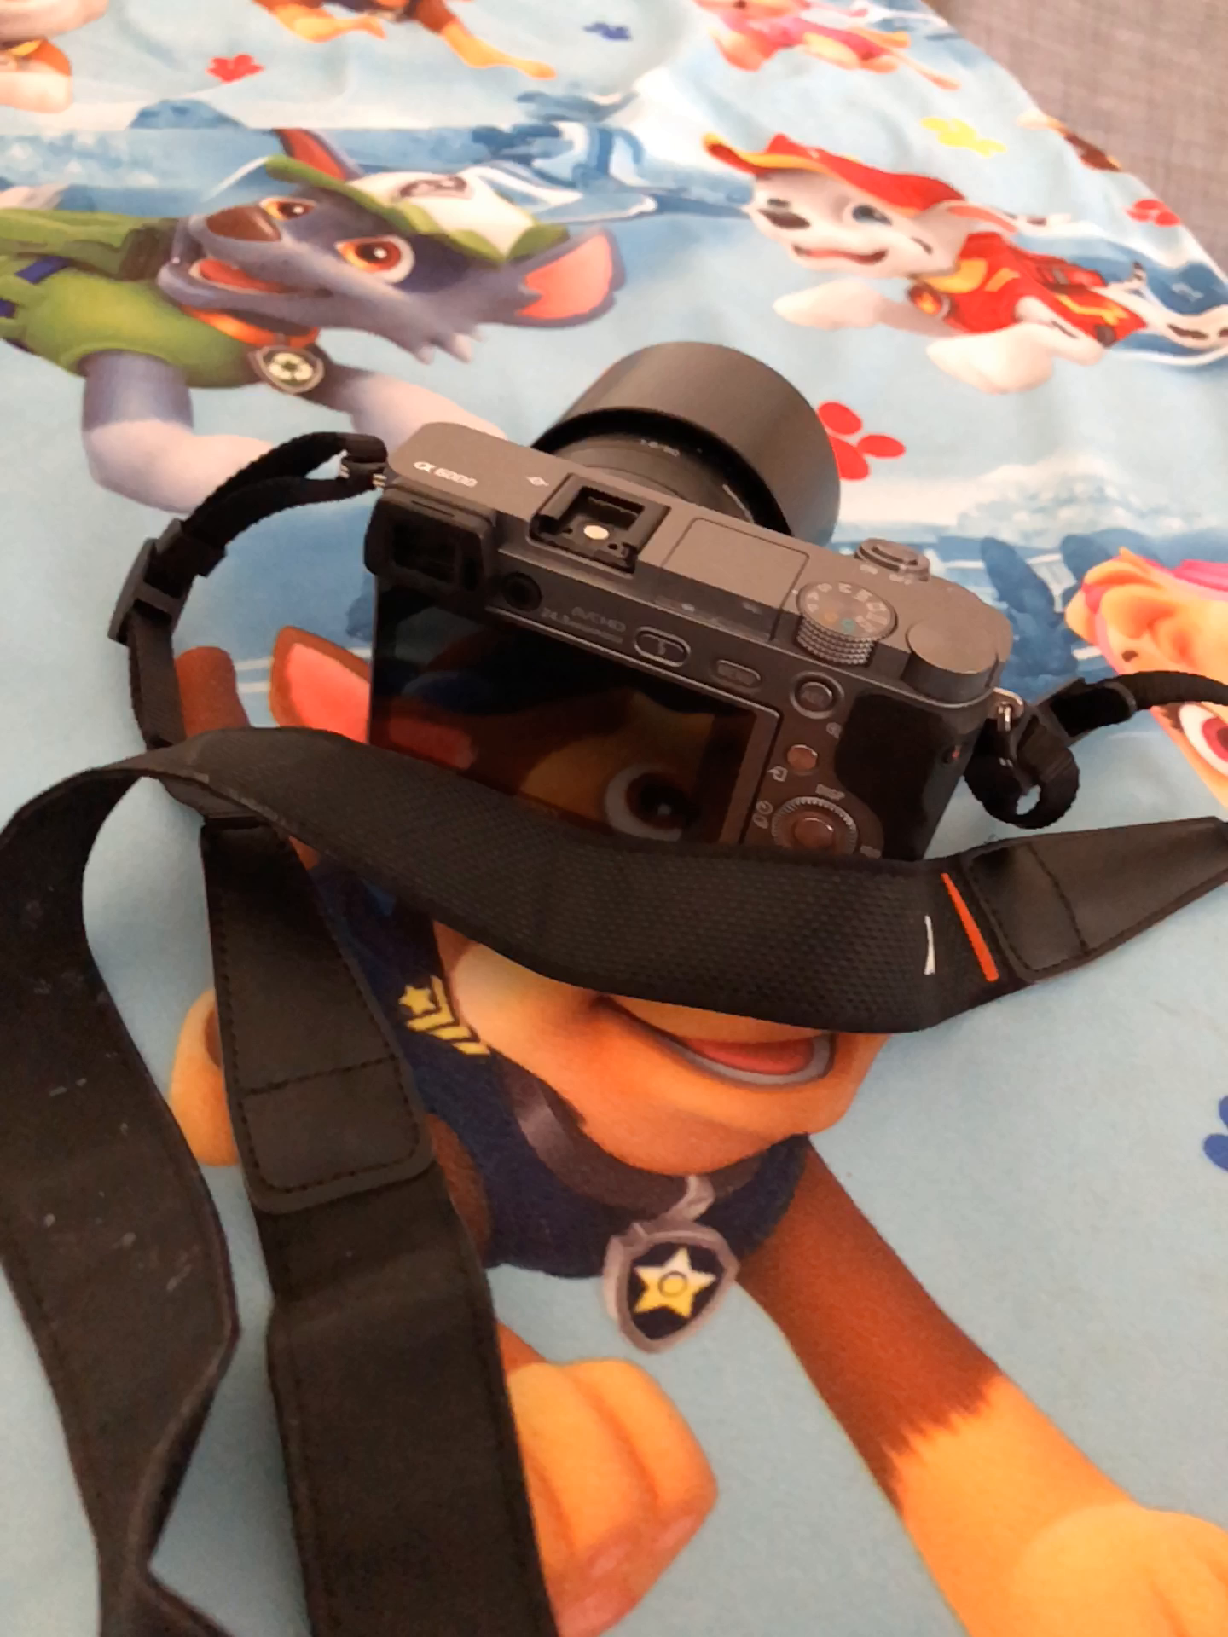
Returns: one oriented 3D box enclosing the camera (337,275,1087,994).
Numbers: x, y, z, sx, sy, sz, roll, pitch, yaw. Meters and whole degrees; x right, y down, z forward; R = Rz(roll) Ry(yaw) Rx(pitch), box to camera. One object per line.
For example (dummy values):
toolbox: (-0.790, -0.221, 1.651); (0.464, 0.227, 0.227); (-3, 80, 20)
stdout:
camera: (0.023, -0.048, 0.311); (0.130, 0.080, 0.111); (21, 43, 8)
